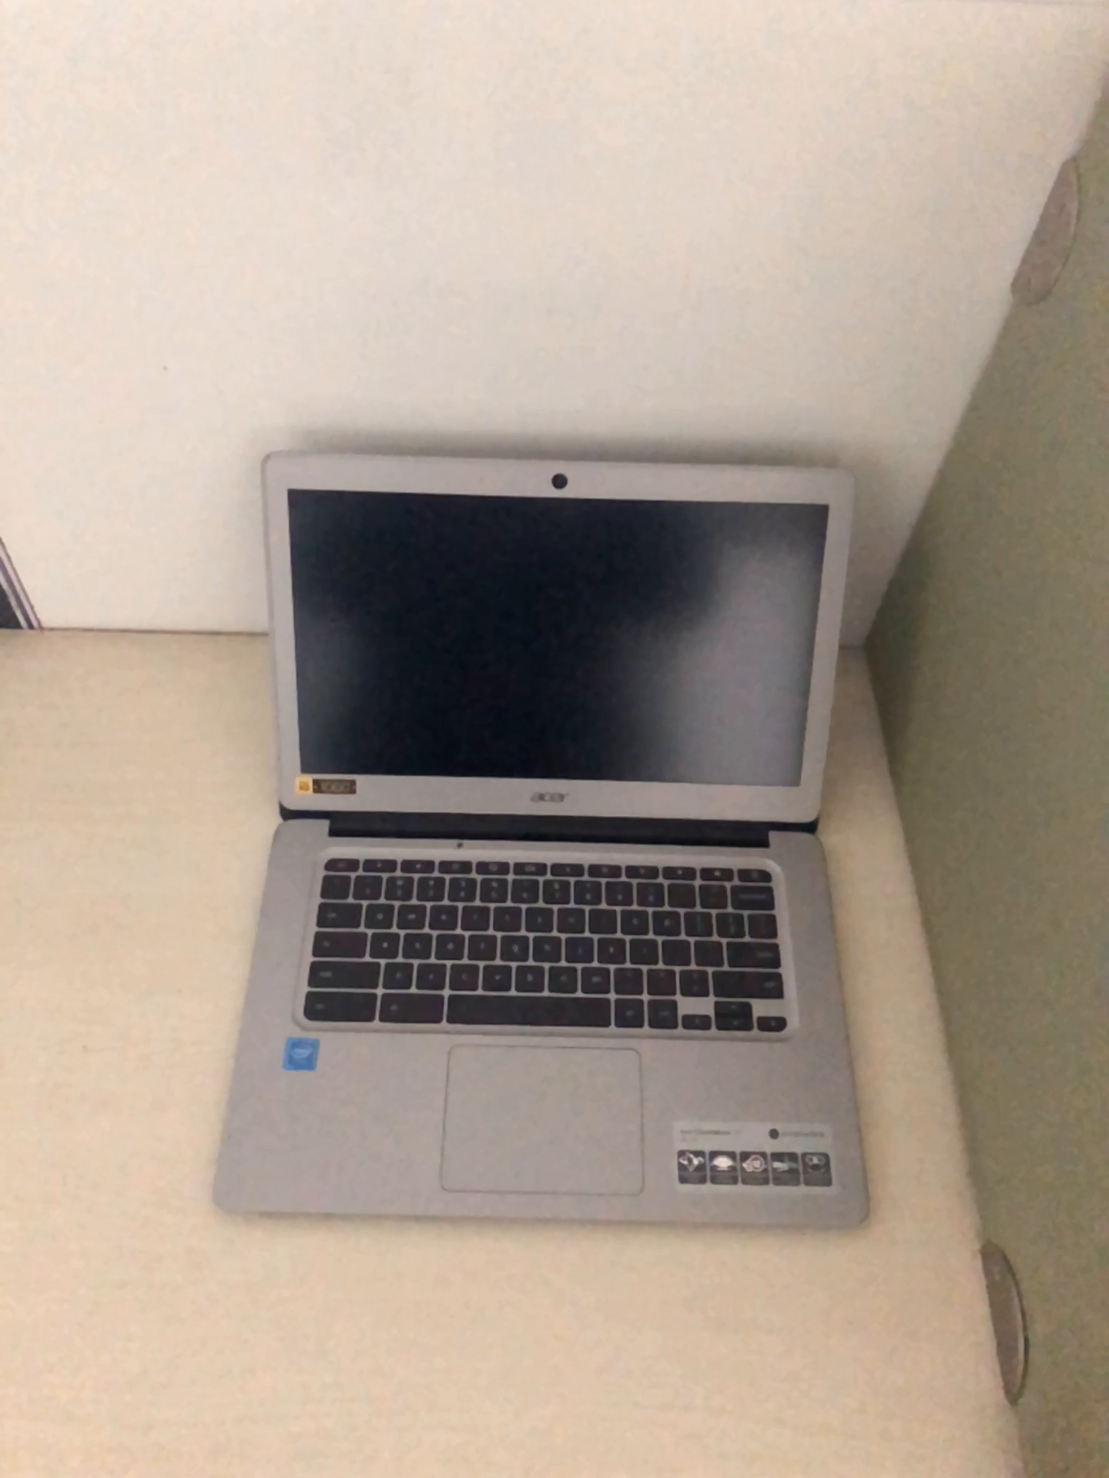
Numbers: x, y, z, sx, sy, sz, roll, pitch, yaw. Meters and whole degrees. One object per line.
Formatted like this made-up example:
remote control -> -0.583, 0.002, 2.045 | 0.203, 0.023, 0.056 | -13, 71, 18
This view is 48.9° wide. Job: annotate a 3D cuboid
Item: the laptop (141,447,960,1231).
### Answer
laptop -> -0.002, 0.044, 0.650 | 0.322, 0.168, 0.367 | 2, 56, -2
